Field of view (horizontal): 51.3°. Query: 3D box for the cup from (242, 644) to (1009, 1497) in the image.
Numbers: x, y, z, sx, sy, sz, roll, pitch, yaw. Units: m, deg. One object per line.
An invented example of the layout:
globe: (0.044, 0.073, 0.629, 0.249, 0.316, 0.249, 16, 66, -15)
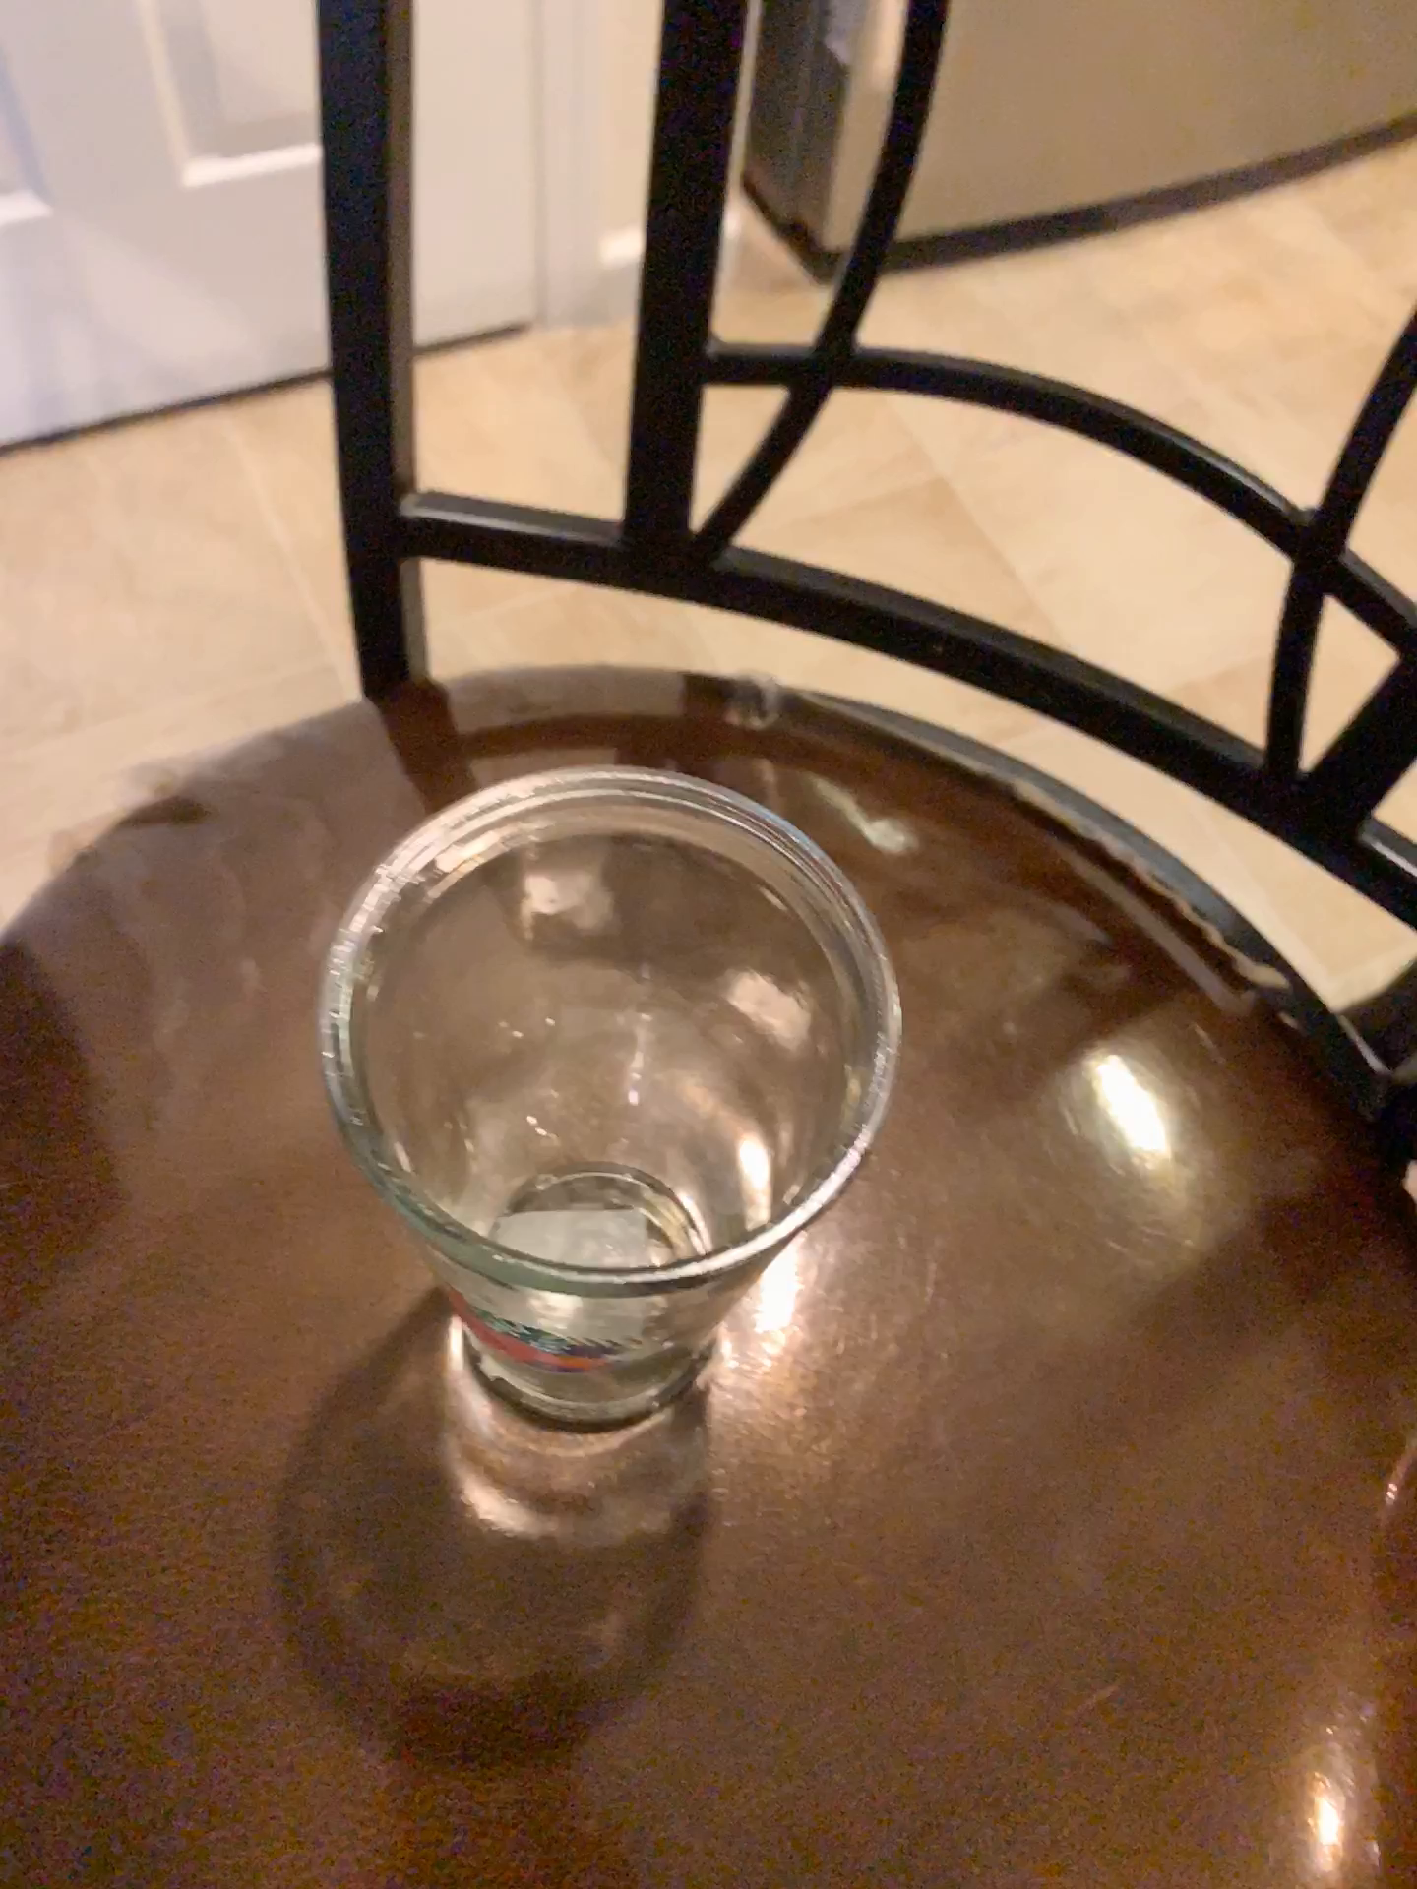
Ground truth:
cup: (-0.017, 0.035, 0.283, 0.080, 0.149, 0.080, 2, 61, -4)
